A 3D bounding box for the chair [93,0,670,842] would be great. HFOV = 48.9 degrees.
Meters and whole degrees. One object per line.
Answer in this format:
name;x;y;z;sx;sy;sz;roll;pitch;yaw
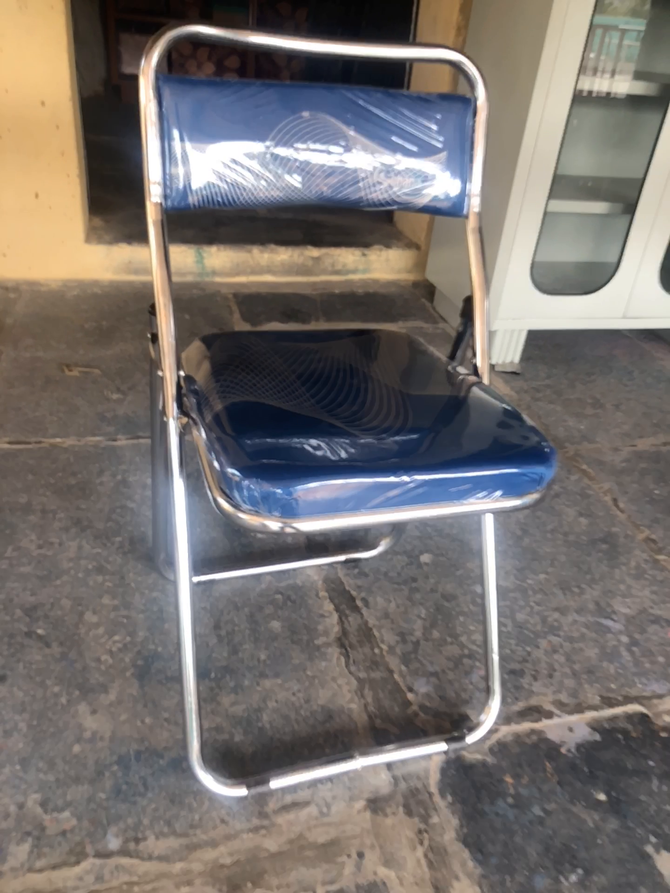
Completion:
chair;0.009;-0.058;0.905;0.501;0.805;0.512;-5;32;-19
